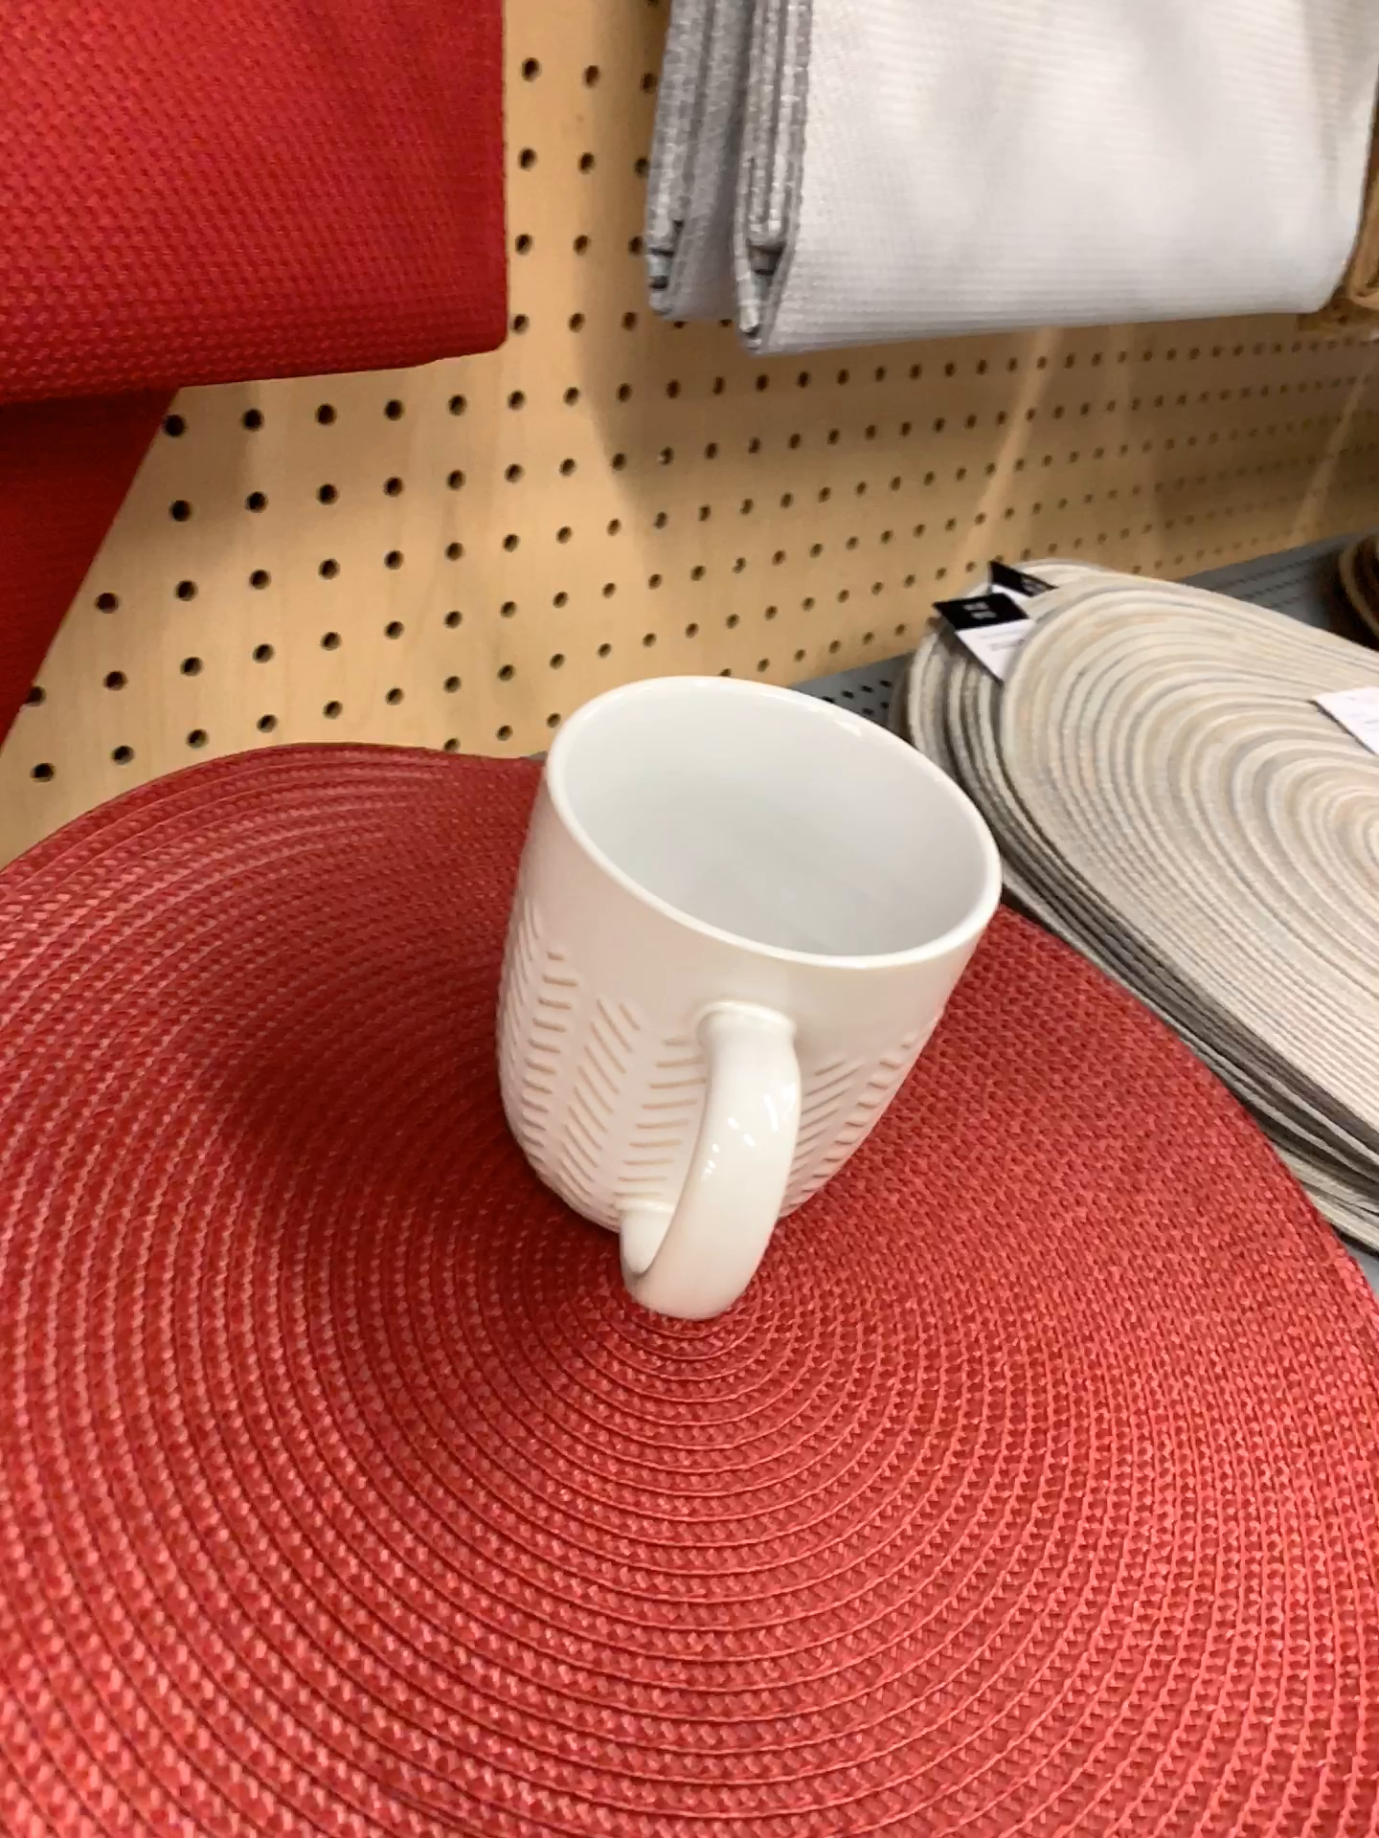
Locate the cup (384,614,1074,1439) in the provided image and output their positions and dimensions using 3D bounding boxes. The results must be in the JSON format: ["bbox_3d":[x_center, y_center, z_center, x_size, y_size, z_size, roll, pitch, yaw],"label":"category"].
[{"bbox_3d":[0.007,0.013,0.288,0.100,0.089,0.141,4,38,0],"label":"cup"}]
